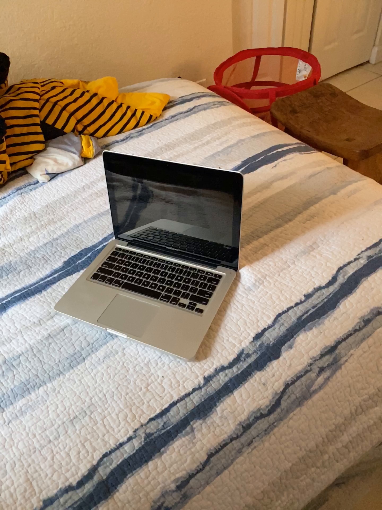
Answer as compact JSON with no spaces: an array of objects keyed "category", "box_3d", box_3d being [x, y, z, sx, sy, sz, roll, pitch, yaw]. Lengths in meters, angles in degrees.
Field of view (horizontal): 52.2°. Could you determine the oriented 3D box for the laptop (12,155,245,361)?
[{"category":"laptop","box_3d":[-0.092,-0.015,0.754,0.319,0.199,0.279,14,49,22]}]
